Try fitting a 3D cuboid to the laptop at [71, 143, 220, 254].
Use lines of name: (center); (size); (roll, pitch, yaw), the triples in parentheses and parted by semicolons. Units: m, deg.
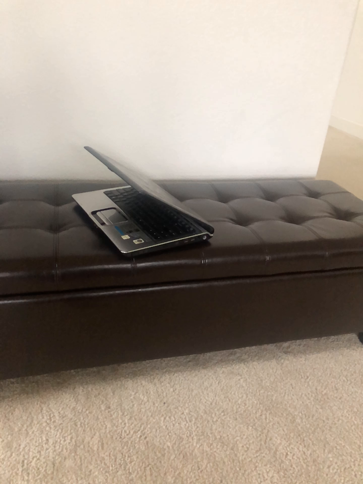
laptop: (-0.101, -0.126, 0.961); (0.230, 0.122, 0.334); (-12, 33, -29)
